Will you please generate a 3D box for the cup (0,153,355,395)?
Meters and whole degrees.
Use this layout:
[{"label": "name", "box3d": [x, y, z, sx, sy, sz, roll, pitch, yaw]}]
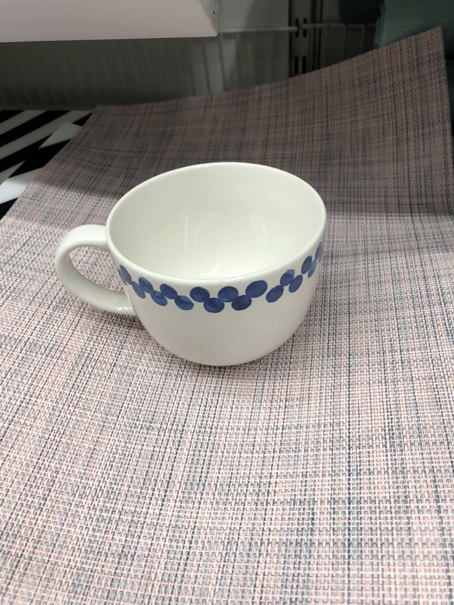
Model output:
[{"label": "cup", "box3d": [-0.023, -0.018, 0.250, 0.150, 0.060, 0.110, -1, 41, 6]}]
